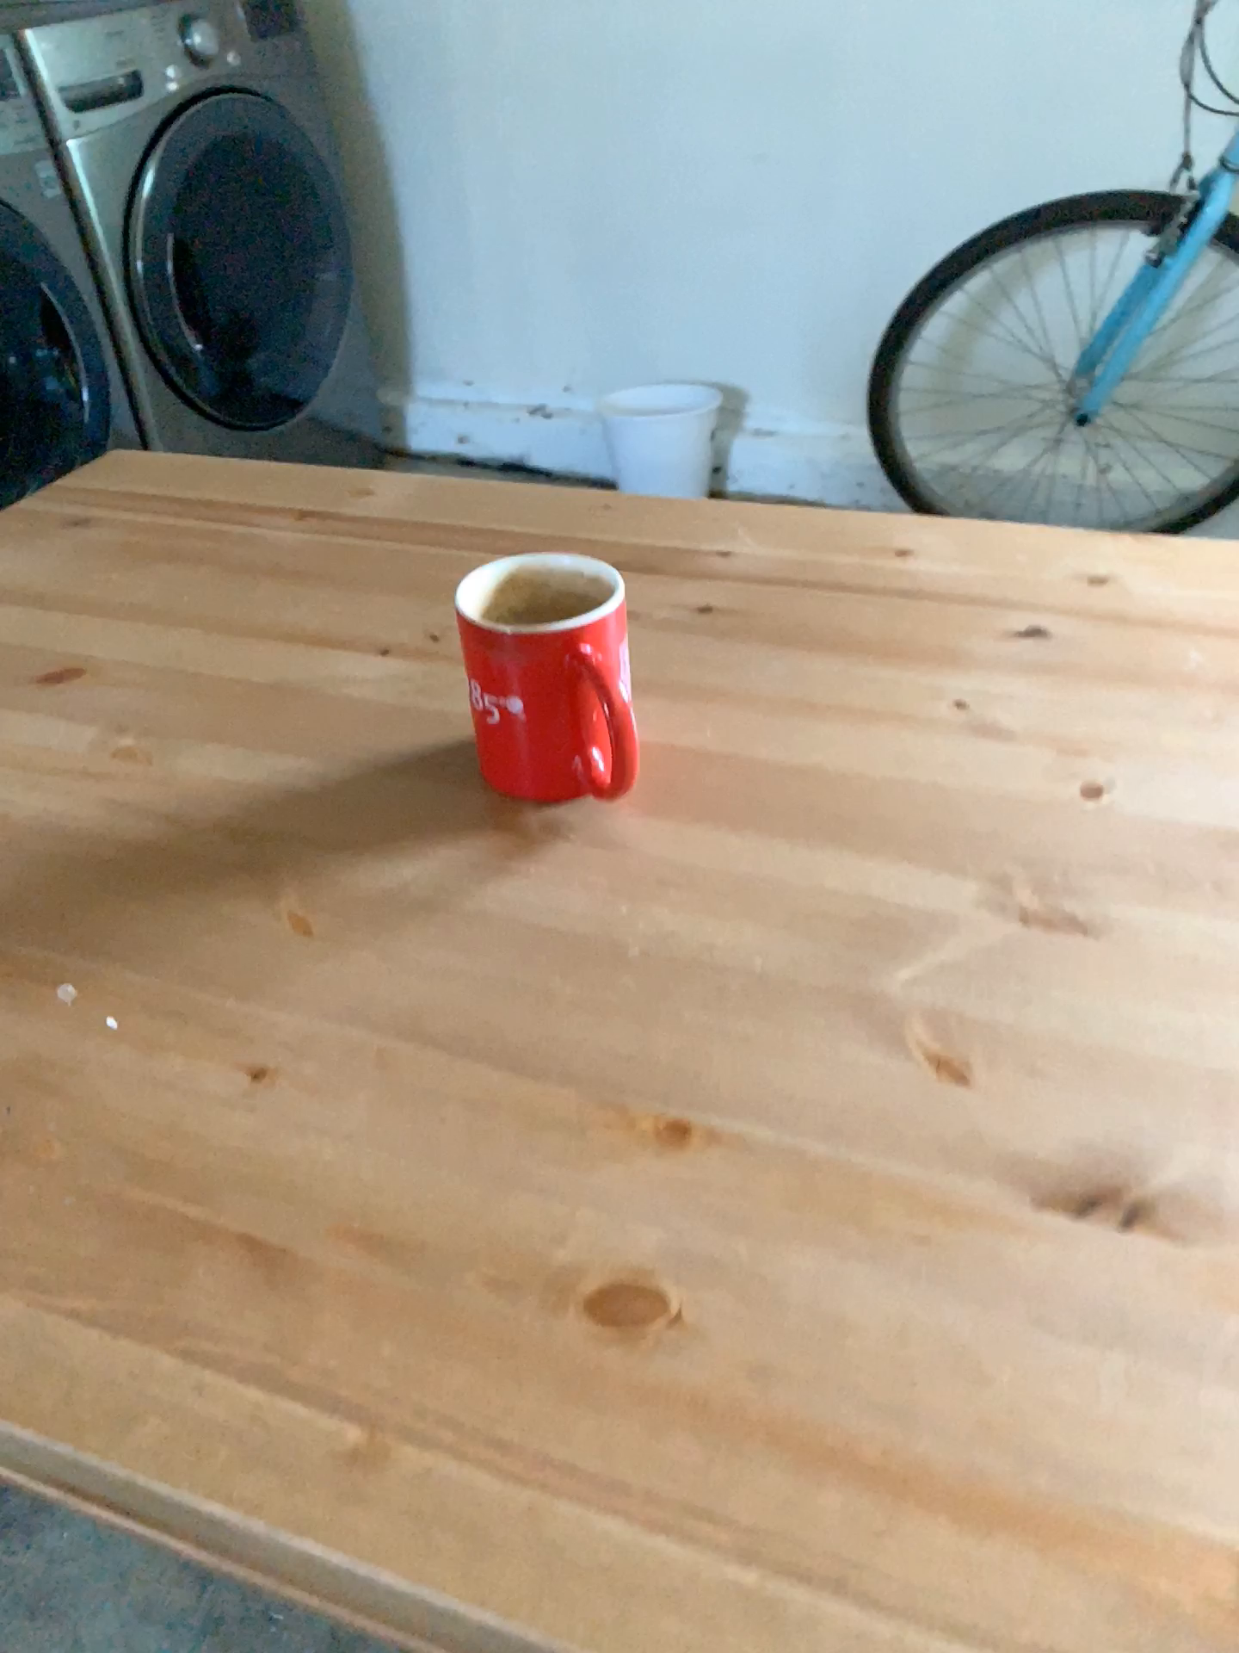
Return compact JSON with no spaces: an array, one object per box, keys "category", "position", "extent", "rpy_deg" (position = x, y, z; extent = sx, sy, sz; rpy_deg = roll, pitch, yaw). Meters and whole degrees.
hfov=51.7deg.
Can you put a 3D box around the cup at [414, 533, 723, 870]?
[{"category":"cup","position":[-0.026,-0.065,0.617],"extent":[0.100,0.090,0.131],"rpy_deg":[-18,39,-16]}]
